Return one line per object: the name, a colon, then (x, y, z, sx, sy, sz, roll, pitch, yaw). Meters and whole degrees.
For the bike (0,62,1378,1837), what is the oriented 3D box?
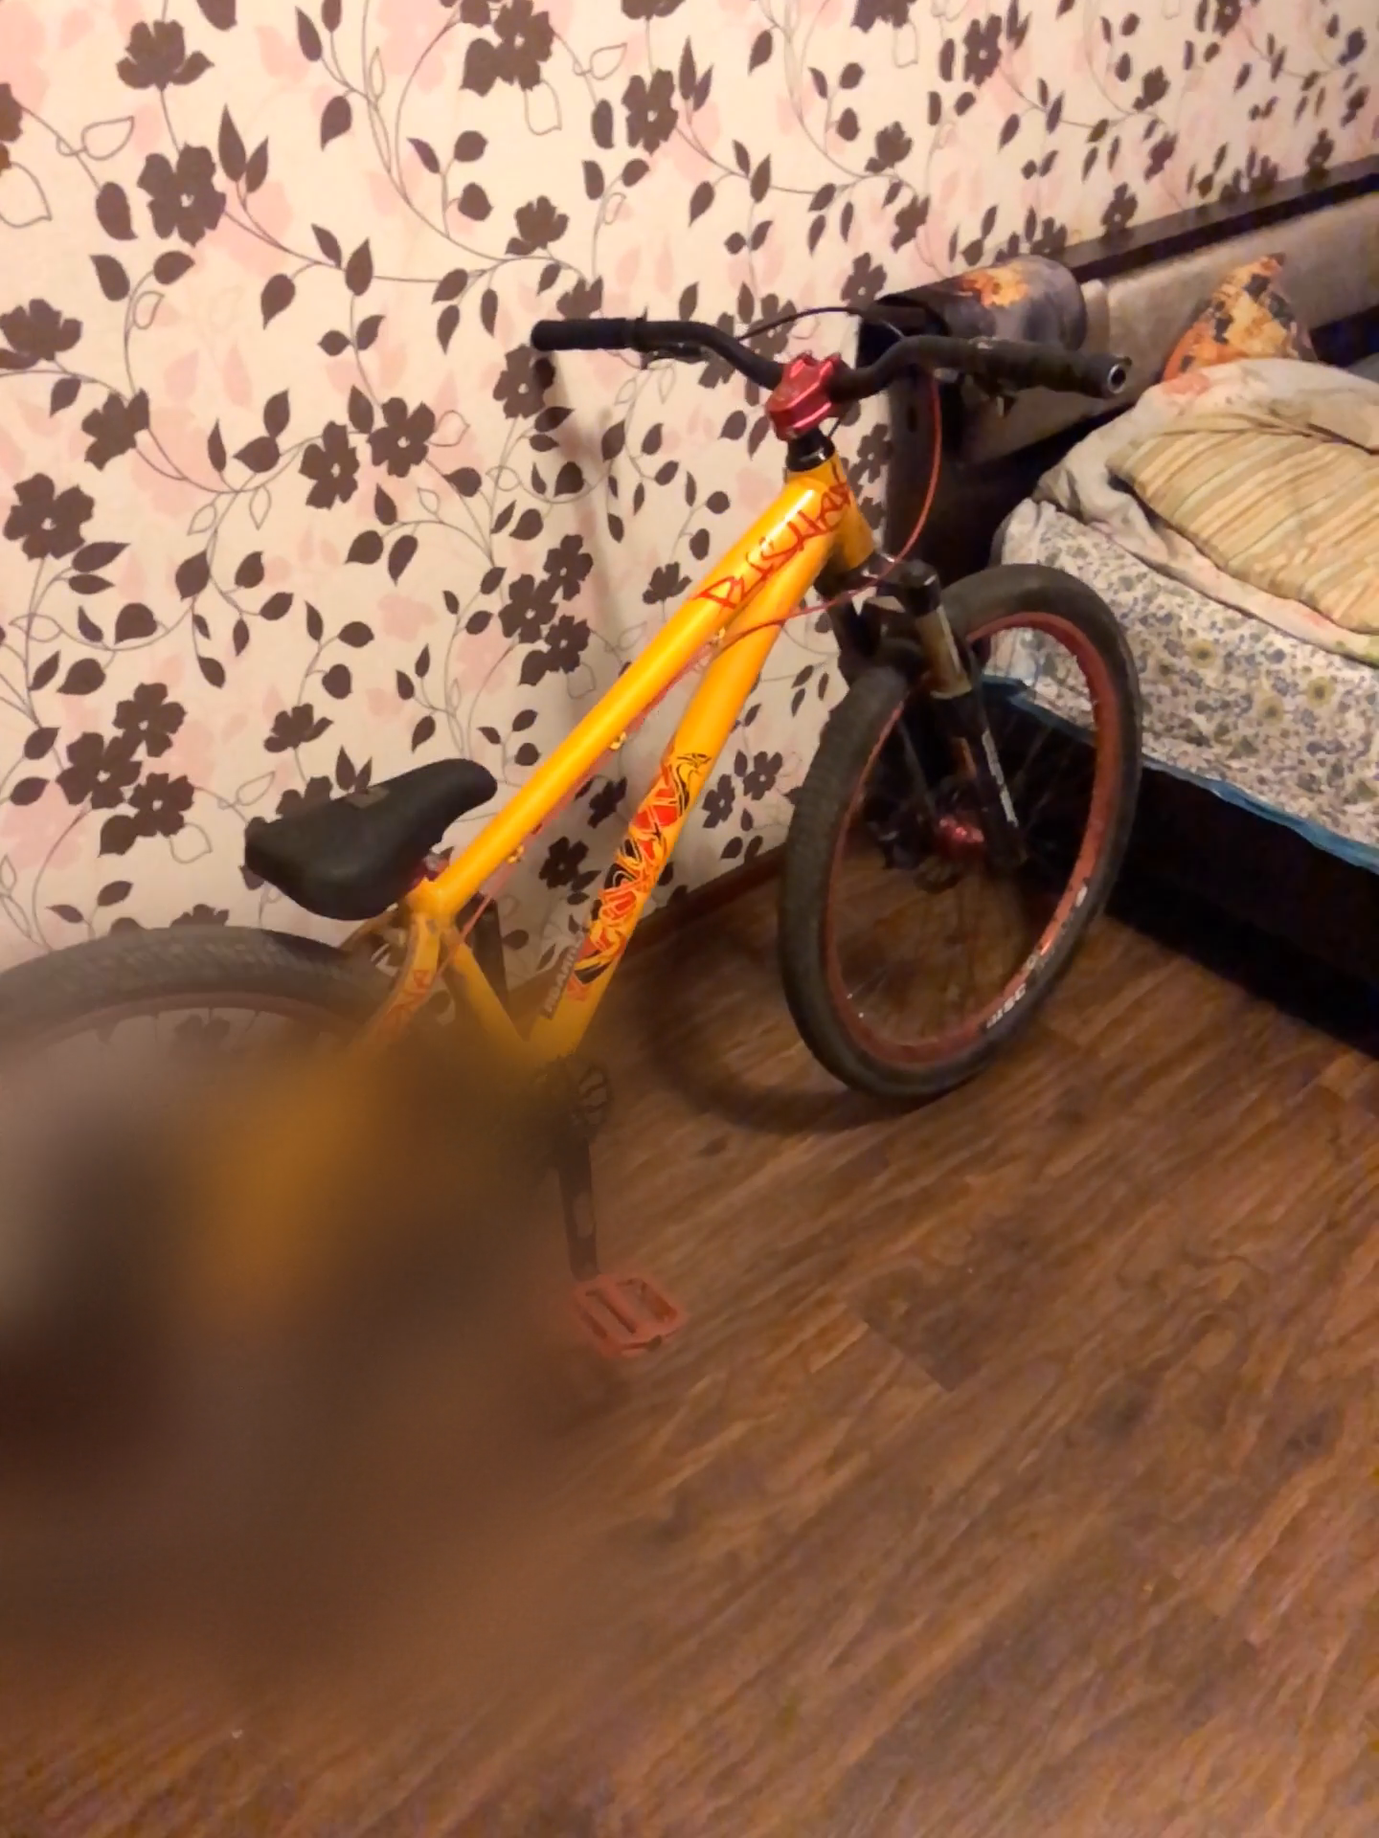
bike: (-0.075, -0.057, 1.448, 1.678, 1.005, 0.663, -29, 45, -28)
